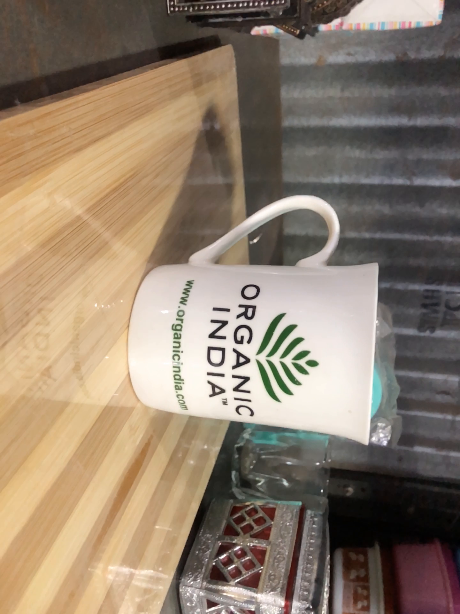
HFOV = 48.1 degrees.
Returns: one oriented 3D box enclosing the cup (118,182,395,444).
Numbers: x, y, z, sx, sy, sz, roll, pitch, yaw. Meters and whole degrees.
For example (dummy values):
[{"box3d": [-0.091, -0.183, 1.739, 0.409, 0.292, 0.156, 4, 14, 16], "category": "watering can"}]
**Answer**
[{"box3d": [0.015, -0.002, 0.244, 0.070, 0.110, 0.100, -15, 109, -76], "category": "cup"}]
